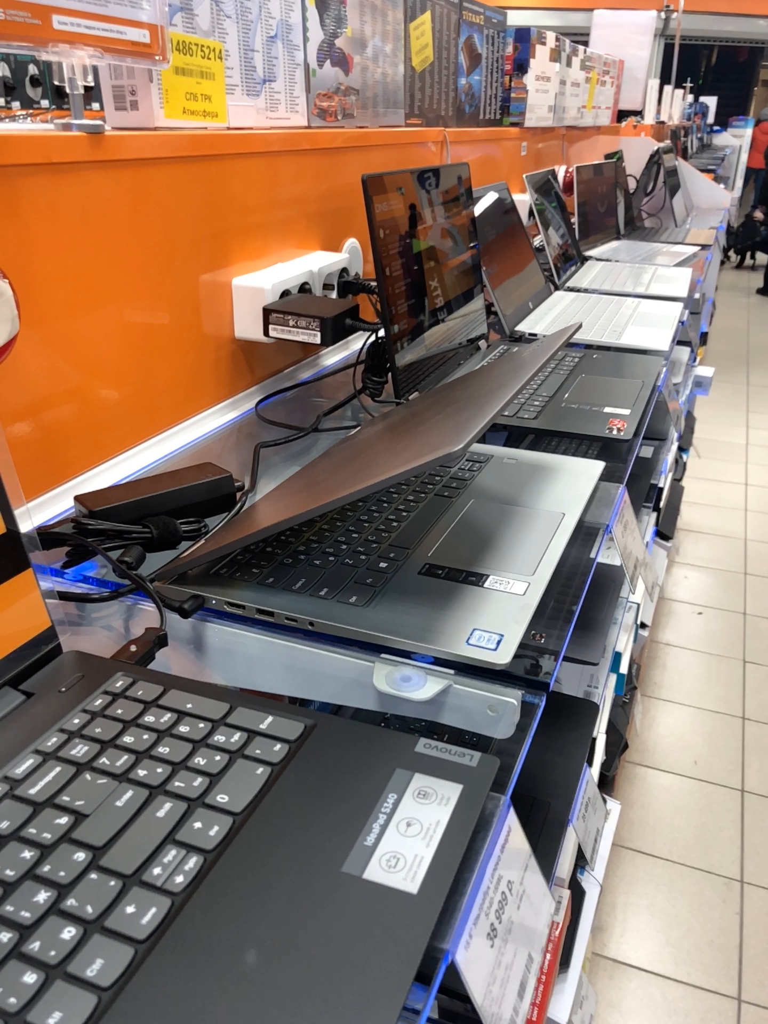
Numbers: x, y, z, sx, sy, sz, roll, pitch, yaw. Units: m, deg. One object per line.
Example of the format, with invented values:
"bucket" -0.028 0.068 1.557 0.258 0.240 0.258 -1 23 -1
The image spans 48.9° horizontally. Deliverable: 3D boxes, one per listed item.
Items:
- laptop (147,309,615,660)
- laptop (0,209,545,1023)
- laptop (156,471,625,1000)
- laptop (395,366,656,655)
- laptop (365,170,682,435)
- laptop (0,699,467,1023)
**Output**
"laptop" 0.025 -0.049 0.587 0.210 0.110 0.315 11 26 19
"laptop" -0.133 0.051 0.222 0.276 0.219 0.330 9 25 18
"laptop" 0.034 0.148 0.733 0.259 0.223 0.363 11 26 19
"laptop" 0.192 -0.022 1.087 0.235 0.228 0.330 11 26 17
"laptop" 0.161 -0.243 0.900 0.246 0.210 0.329 9 25 17
"laptop" -0.129 0.305 0.355 0.243 0.222 0.334 13 26 18
